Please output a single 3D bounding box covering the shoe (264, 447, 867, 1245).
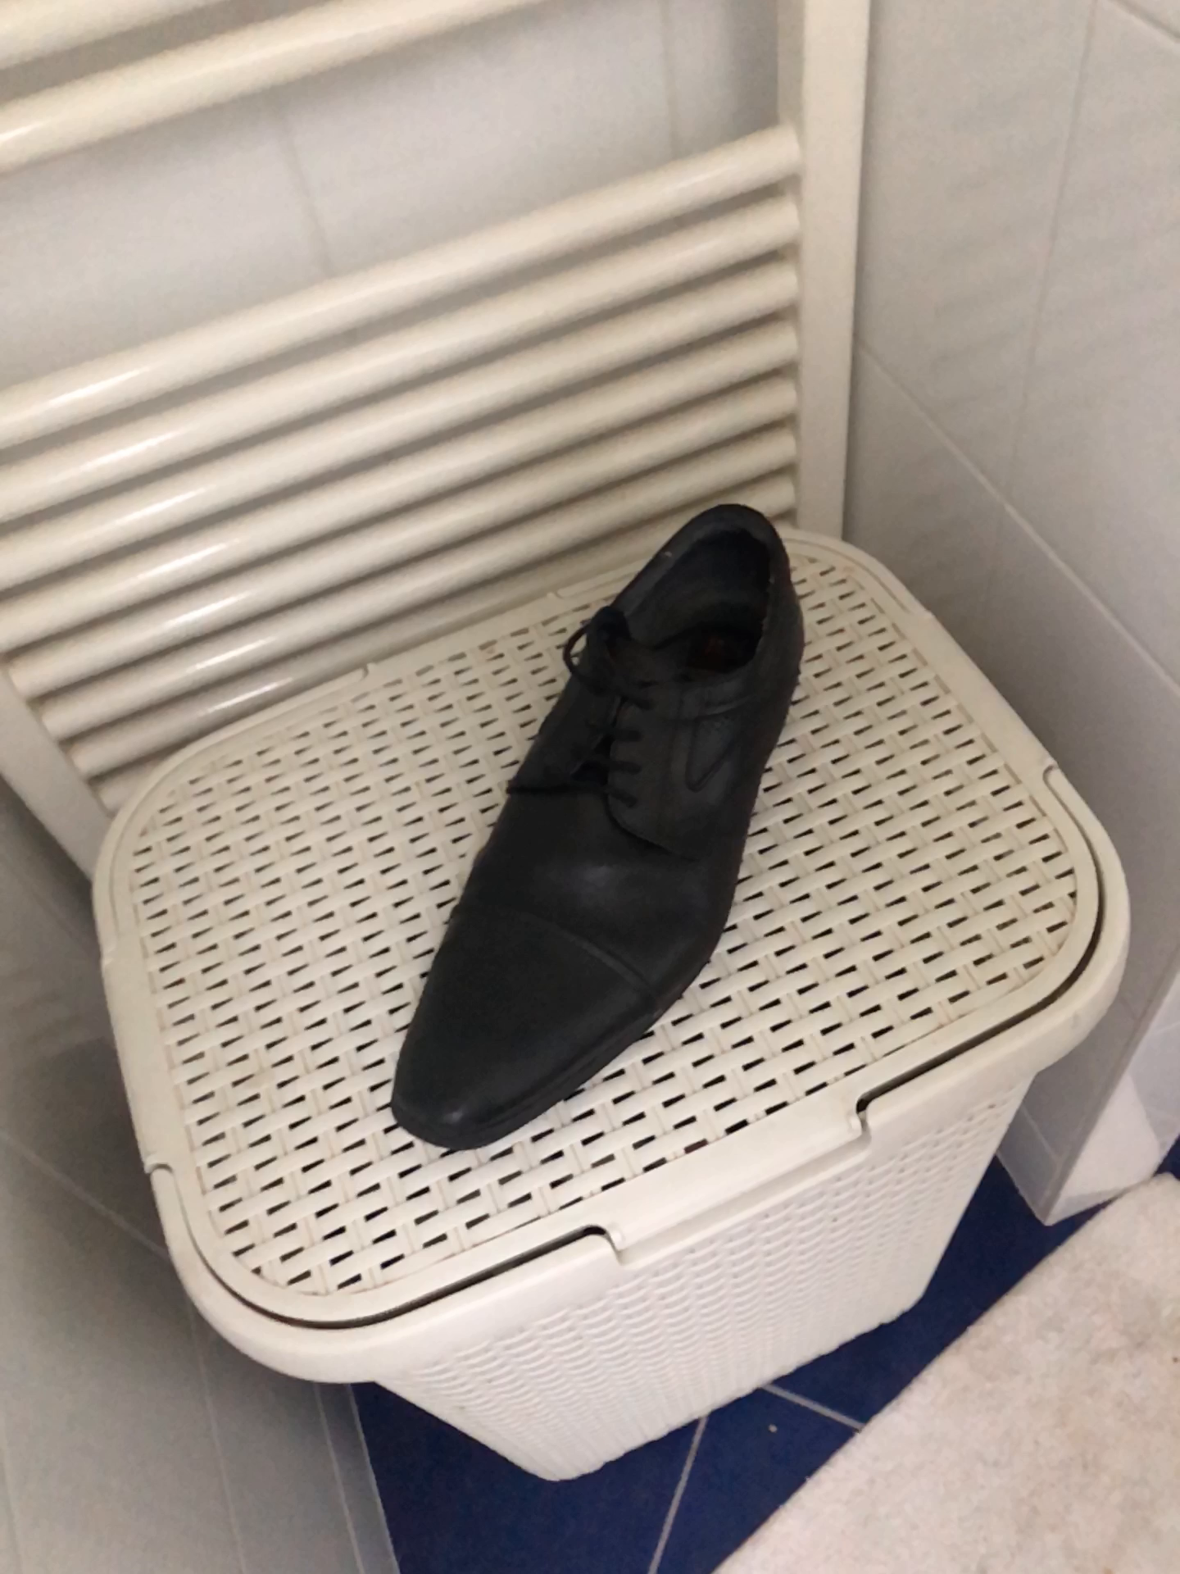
[{"bbox_3d":[0.010,0.008,0.542,0.110,0.100,0.311,18,59,20],"label":"shoe"}]
